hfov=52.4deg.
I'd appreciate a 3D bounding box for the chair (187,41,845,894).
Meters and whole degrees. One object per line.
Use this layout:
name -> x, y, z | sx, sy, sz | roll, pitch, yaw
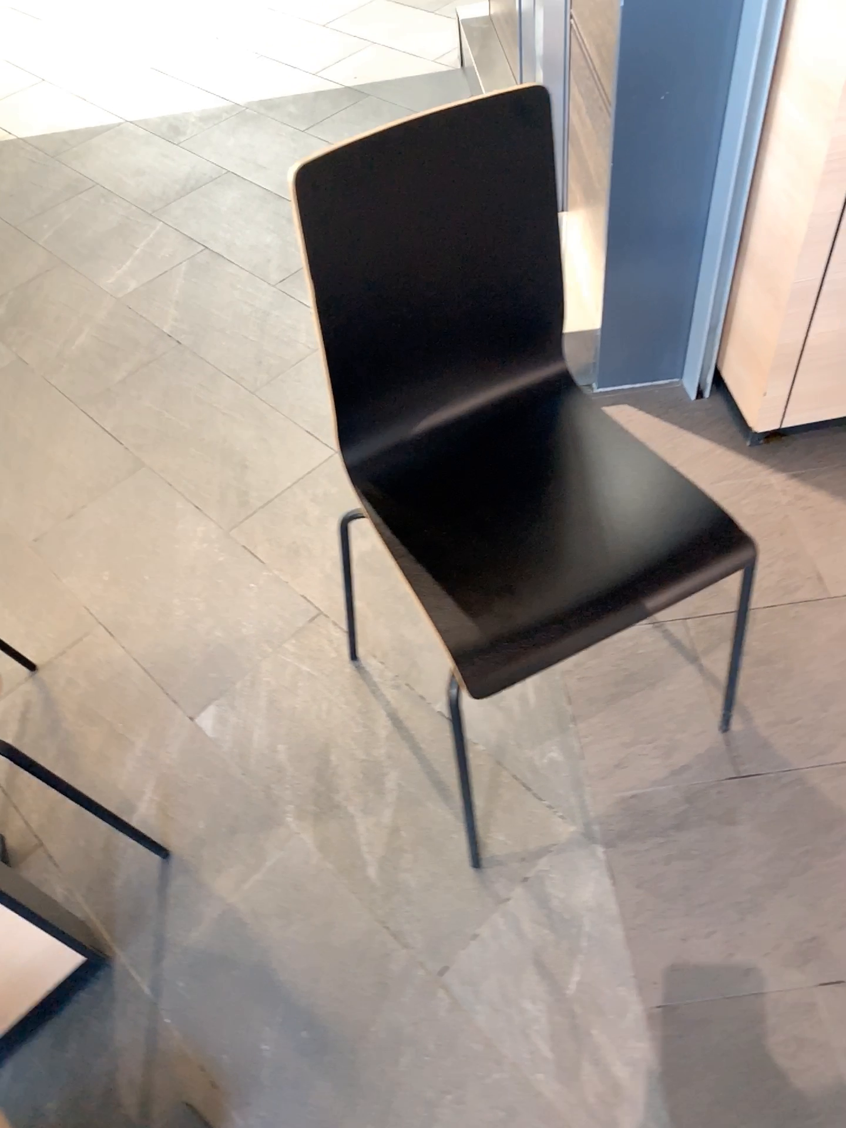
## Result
chair -> 0.143, -0.065, 1.113 | 0.520, 0.837, 0.522 | -24, 53, -11
